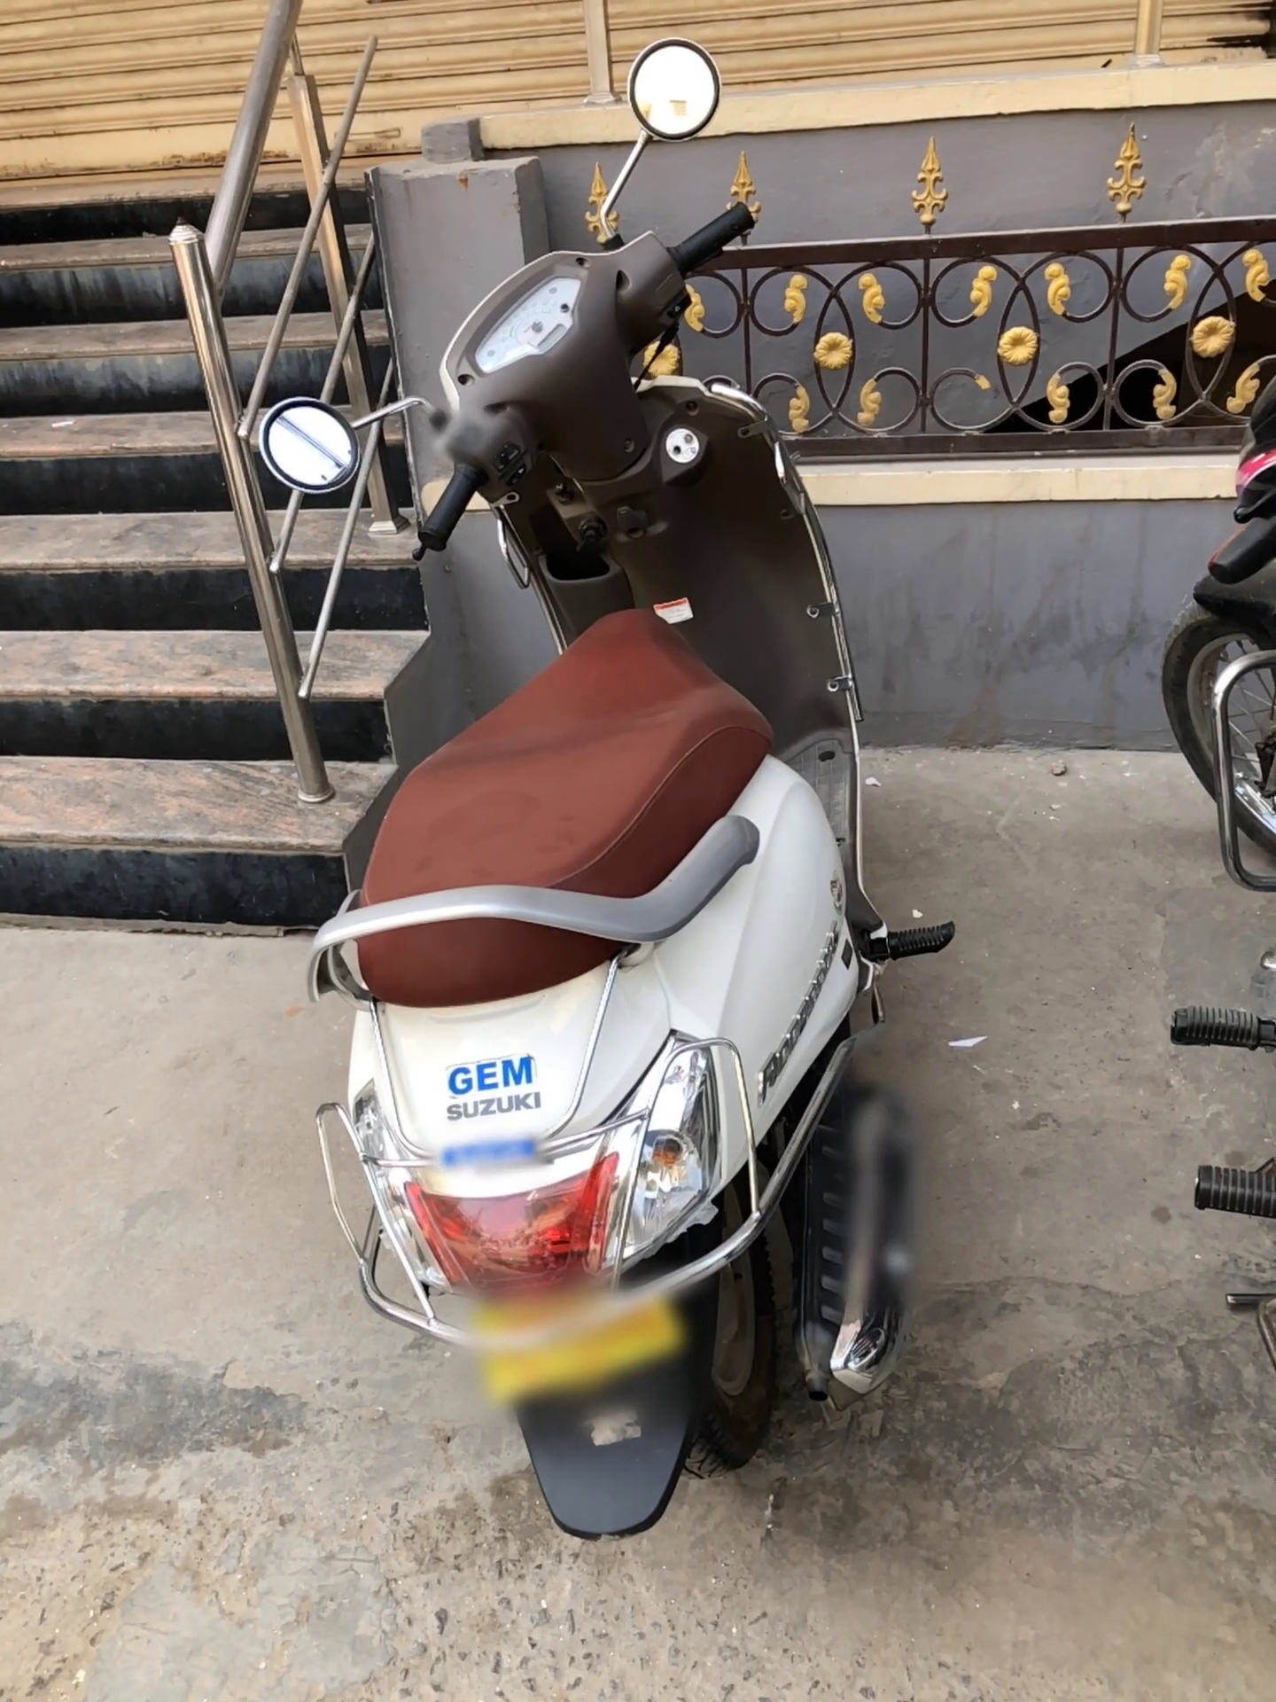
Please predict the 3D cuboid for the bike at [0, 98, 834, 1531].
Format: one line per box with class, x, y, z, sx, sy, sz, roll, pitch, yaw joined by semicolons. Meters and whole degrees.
bike;-0.098;-0.200;1.859;0.597;1.194;1.494;-2;33;5
